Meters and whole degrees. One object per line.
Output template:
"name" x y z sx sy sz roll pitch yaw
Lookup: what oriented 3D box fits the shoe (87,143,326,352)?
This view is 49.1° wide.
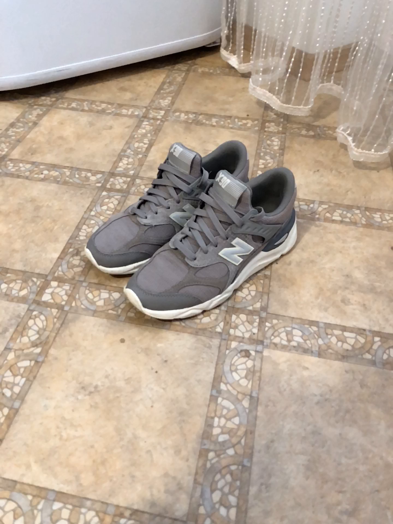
"shoe" 0.020 -0.029 0.530 0.271 0.119 0.100 -30 53 -27

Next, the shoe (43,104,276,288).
"shoe" -0.038 -0.095 0.563 0.271 0.119 0.100 -27 52 -25
